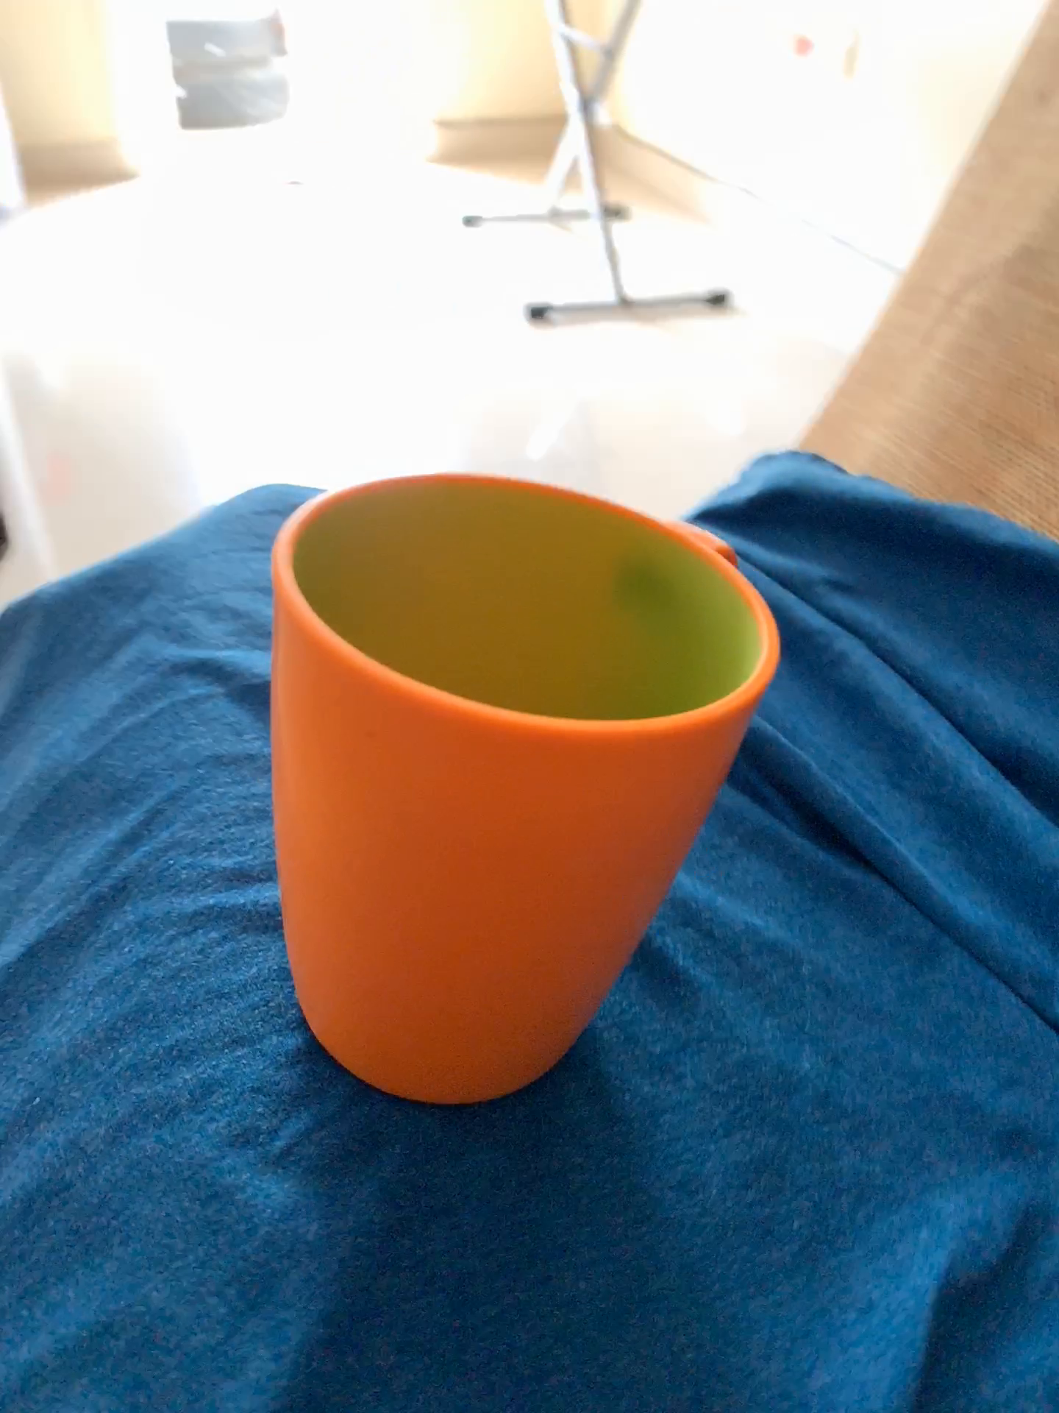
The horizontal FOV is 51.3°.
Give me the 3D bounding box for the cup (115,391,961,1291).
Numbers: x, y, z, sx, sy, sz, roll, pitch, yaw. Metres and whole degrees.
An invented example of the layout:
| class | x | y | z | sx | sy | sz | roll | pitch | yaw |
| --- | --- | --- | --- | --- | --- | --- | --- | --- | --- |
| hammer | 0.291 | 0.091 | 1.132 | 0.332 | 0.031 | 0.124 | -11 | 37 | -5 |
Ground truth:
| class | x | y | z | sx | sy | sz | roll | pitch | yaw |
| --- | --- | --- | --- | --- | --- | --- | --- | --- | --- |
| cup | 0.007 | 0.010 | 0.212 | 0.100 | 0.089 | 0.121 | 28 | 32 | 14 |
